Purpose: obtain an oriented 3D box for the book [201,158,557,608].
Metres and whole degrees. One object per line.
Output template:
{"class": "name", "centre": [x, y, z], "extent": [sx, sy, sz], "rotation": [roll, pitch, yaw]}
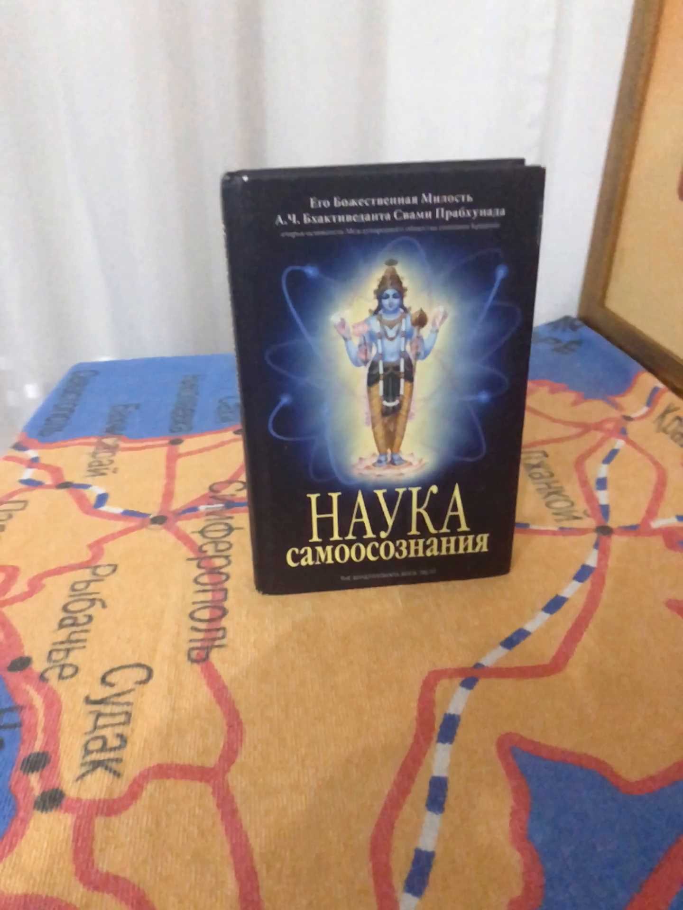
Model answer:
{"class": "book", "centre": [0.017, -0.025, 0.354], "extent": [0.140, 0.206, 0.030], "rotation": [-4, 28, -5]}
